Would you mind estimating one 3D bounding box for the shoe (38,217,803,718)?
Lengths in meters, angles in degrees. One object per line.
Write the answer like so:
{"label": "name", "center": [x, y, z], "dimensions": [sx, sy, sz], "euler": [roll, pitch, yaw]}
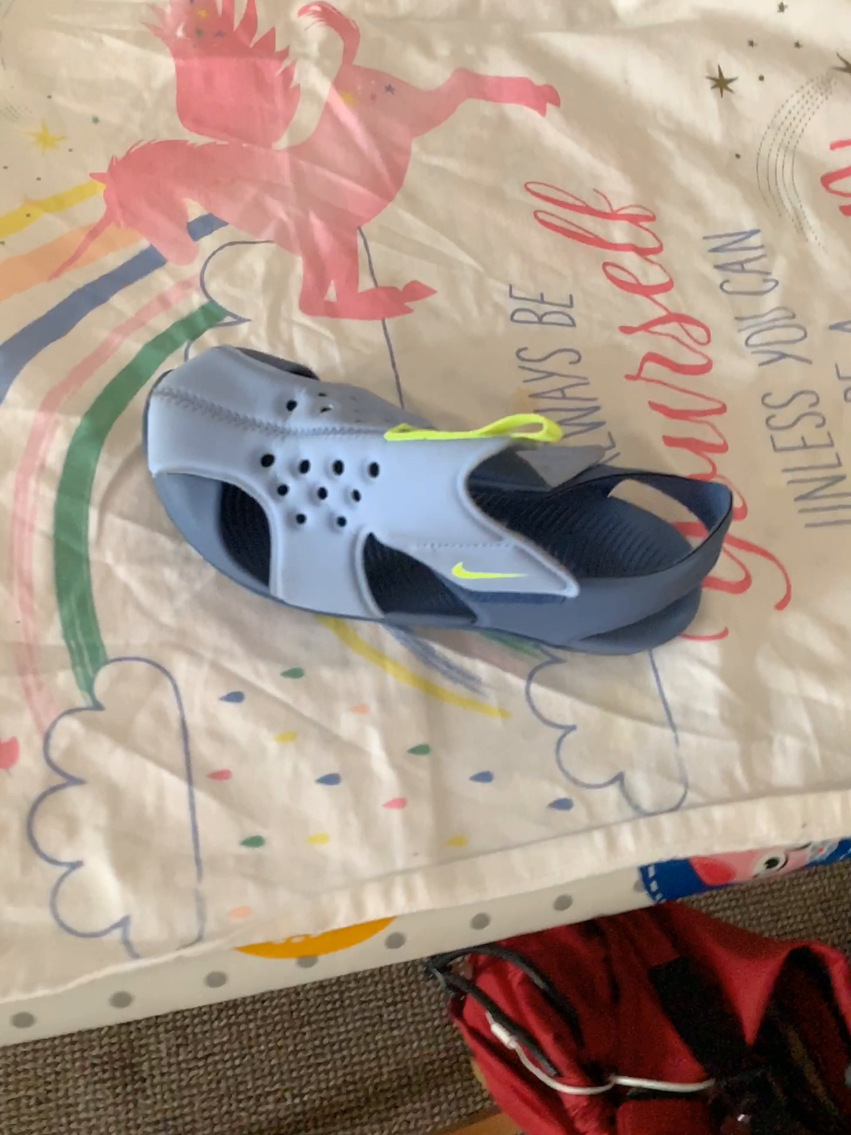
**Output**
{"label": "shoe", "center": [0.001, -0.026, 0.303], "dimensions": [0.216, 0.090, 0.087], "euler": [16, 70, -2]}
